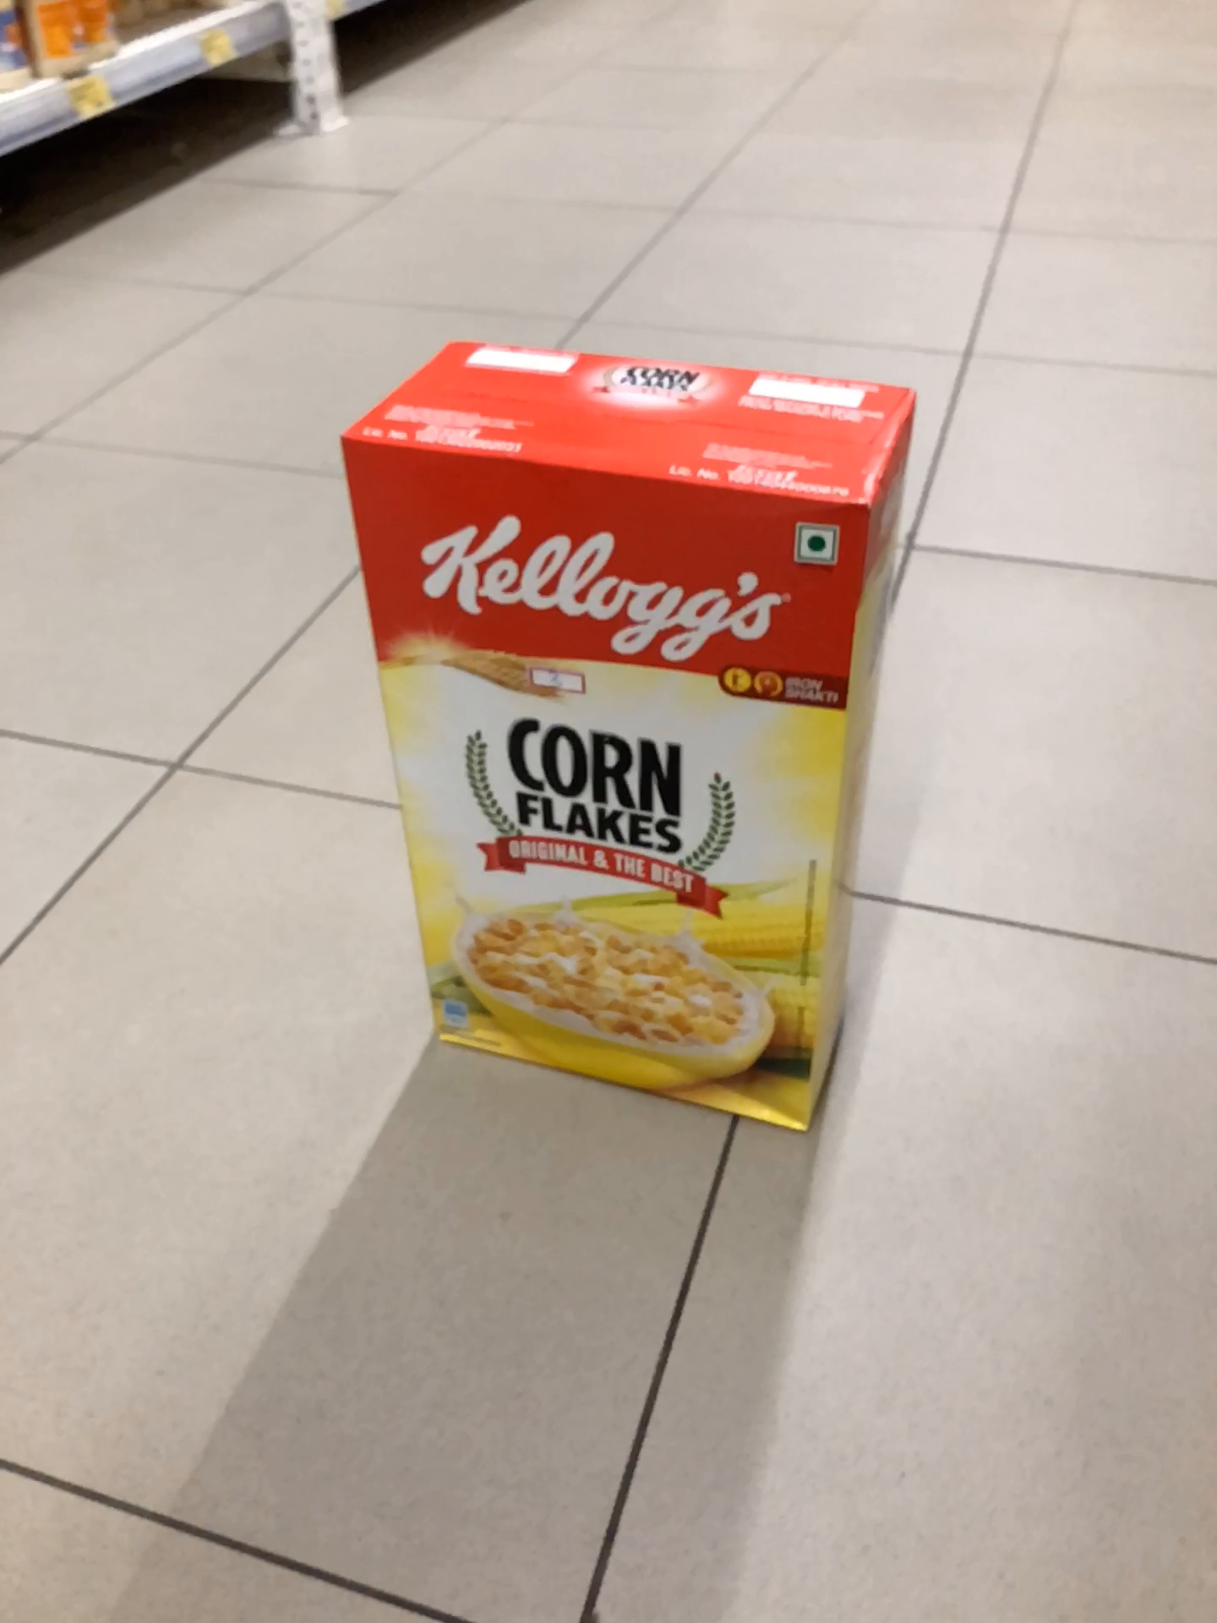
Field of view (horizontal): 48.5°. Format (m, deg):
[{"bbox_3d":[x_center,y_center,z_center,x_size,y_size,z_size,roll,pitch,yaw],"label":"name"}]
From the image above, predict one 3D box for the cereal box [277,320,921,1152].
[{"bbox_3d":[0.004,-0.020,0.565,0.200,0.318,0.101,11,41,15],"label":"cereal box"}]
